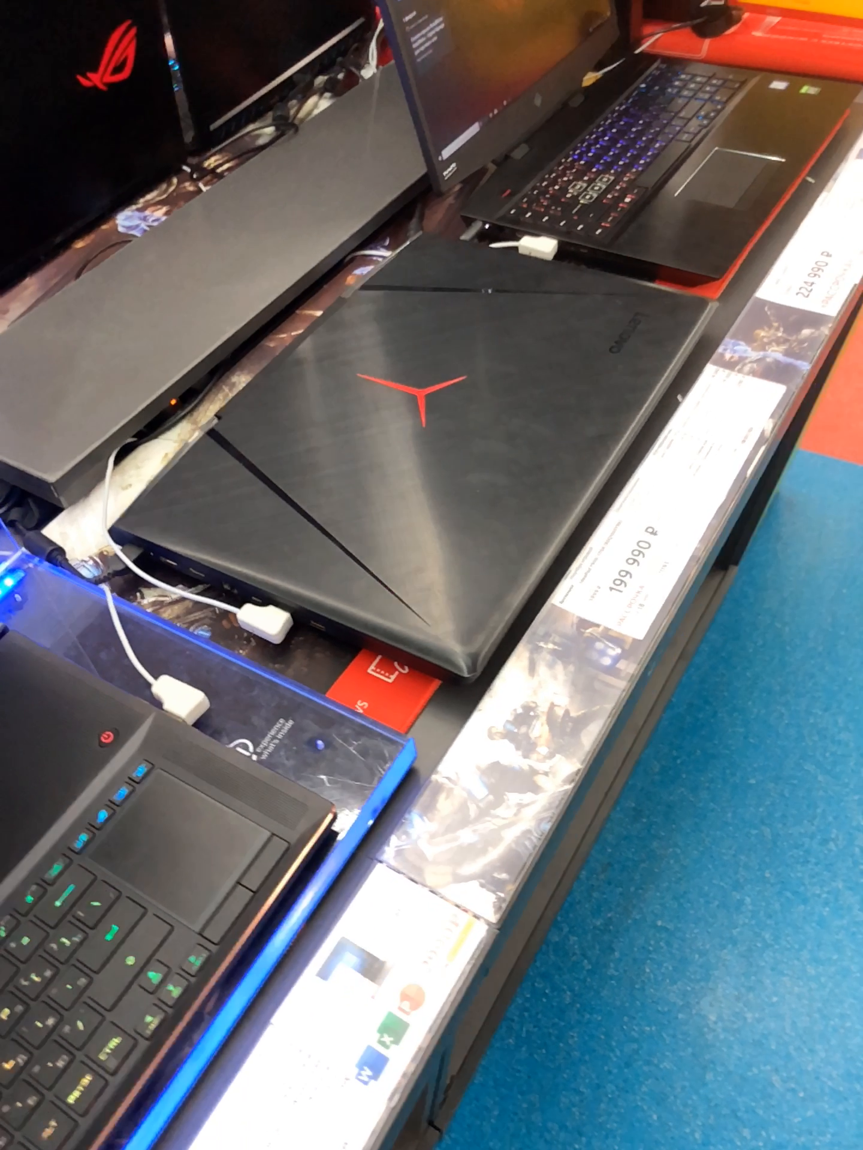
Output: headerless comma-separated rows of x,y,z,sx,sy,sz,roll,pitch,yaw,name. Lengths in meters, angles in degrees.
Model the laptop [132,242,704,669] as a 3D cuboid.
0.008,-0.126,0.714,0.269,0.005,0.400,20,54,22,laptop
